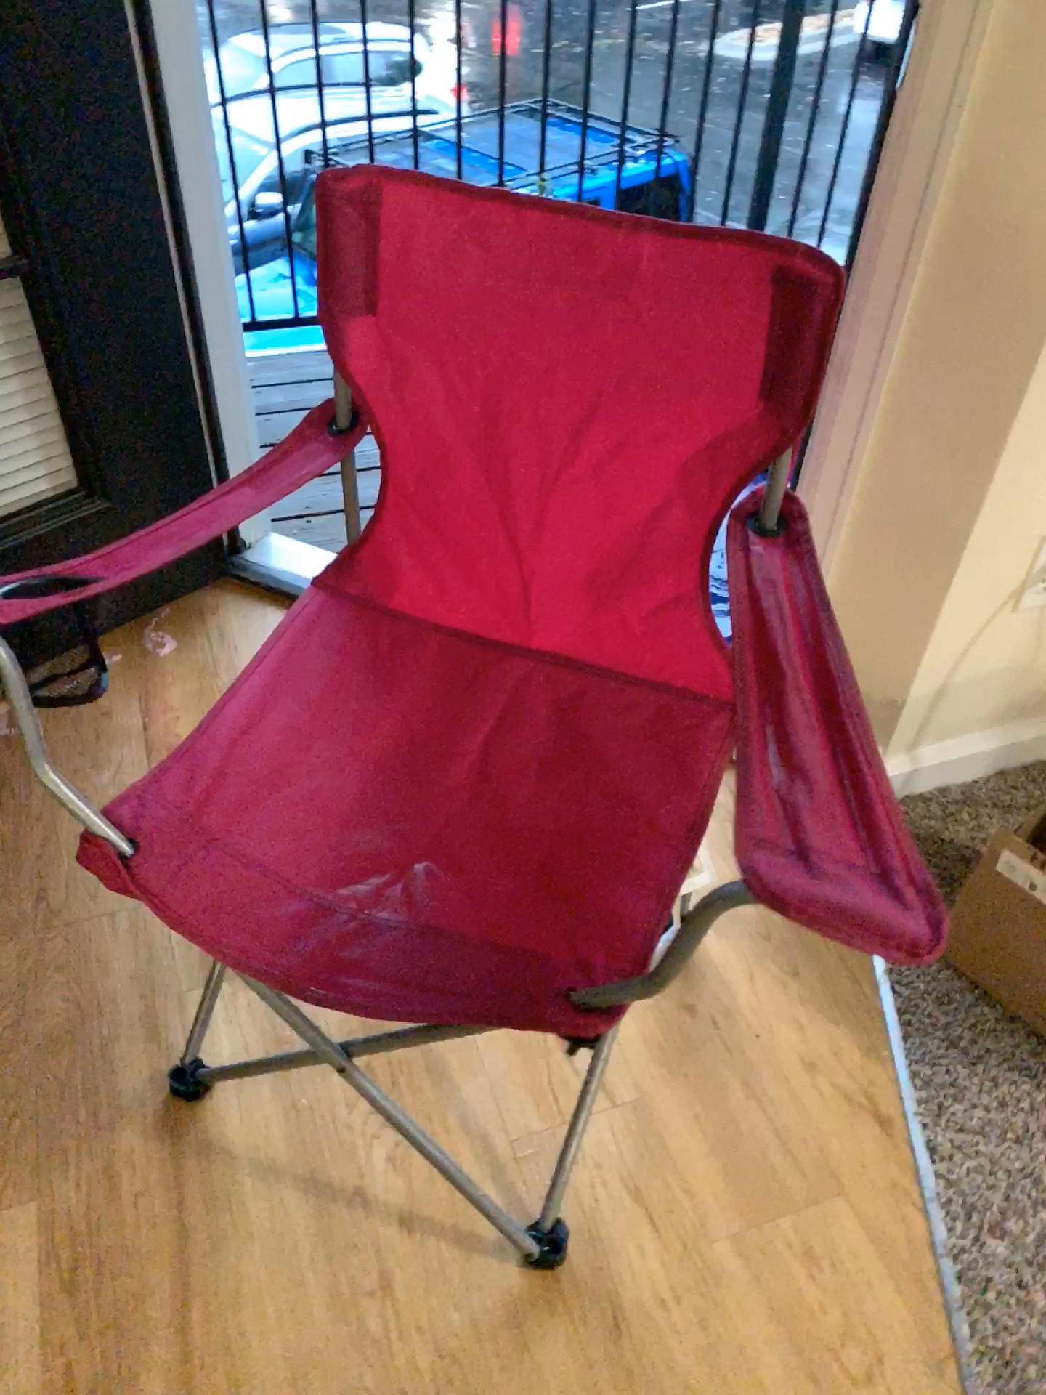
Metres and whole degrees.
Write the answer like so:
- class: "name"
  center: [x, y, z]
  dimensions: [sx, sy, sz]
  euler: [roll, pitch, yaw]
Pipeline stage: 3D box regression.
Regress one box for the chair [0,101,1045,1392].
- class: "chair"
  center: [-0.025, 0.002, 0.978]
  dimensions: [0.651, 0.777, 0.672]
  euler: [19, 44, 17]
